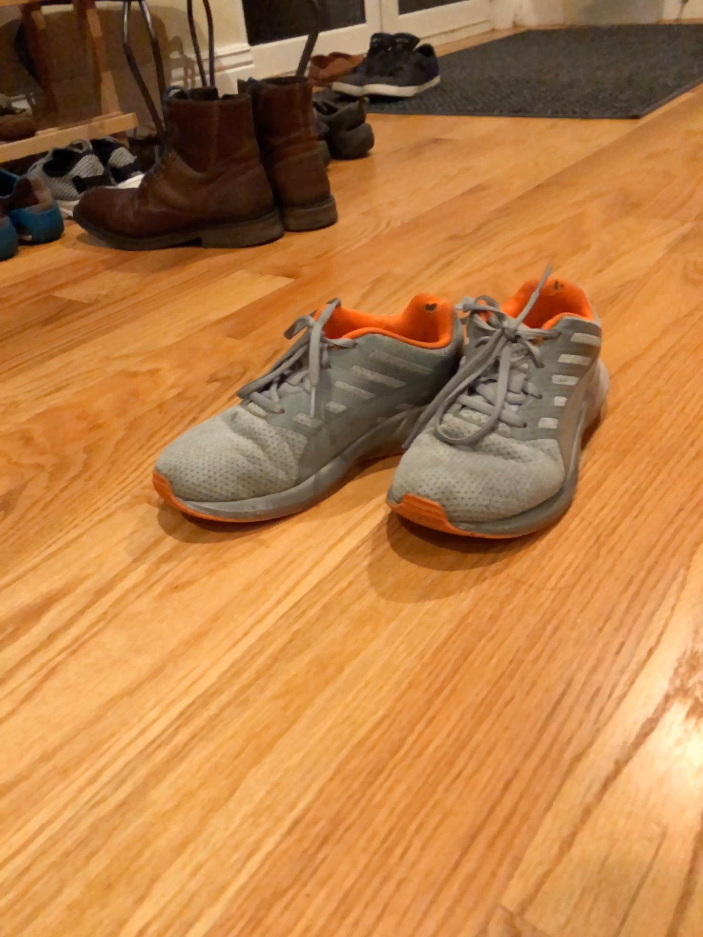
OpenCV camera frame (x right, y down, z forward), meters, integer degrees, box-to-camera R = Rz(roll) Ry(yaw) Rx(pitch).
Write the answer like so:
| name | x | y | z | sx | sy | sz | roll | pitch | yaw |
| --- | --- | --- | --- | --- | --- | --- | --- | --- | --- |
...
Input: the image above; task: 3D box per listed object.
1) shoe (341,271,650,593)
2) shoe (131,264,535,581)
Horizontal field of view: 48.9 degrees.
| name | x | y | z | sx | sy | sz | roll | pitch | yaw |
| --- | --- | --- | --- | --- | --- | --- | --- | --- | --- |
| shoe | 0.106 | -0.043 | 0.501 | 0.110 | 0.079 | 0.251 | 12 | 37 | 27 |
| shoe | 0.000 | -0.045 | 0.520 | 0.251 | 0.099 | 0.100 | -27 | 38 | -29 |
